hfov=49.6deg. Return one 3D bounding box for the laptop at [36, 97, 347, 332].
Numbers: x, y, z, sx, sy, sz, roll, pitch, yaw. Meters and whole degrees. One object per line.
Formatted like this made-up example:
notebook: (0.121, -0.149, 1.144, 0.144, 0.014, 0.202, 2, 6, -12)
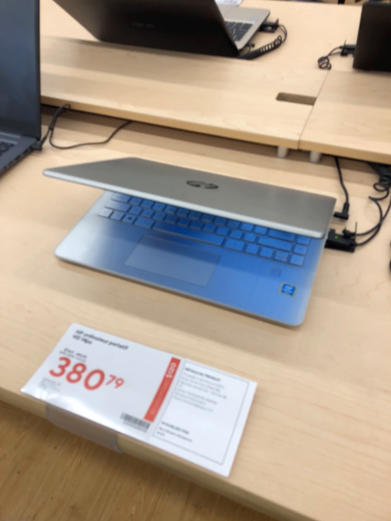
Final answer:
laptop: (-0.002, -0.085, 0.516, 0.319, 0.104, 0.216, 17, 48, 23)
